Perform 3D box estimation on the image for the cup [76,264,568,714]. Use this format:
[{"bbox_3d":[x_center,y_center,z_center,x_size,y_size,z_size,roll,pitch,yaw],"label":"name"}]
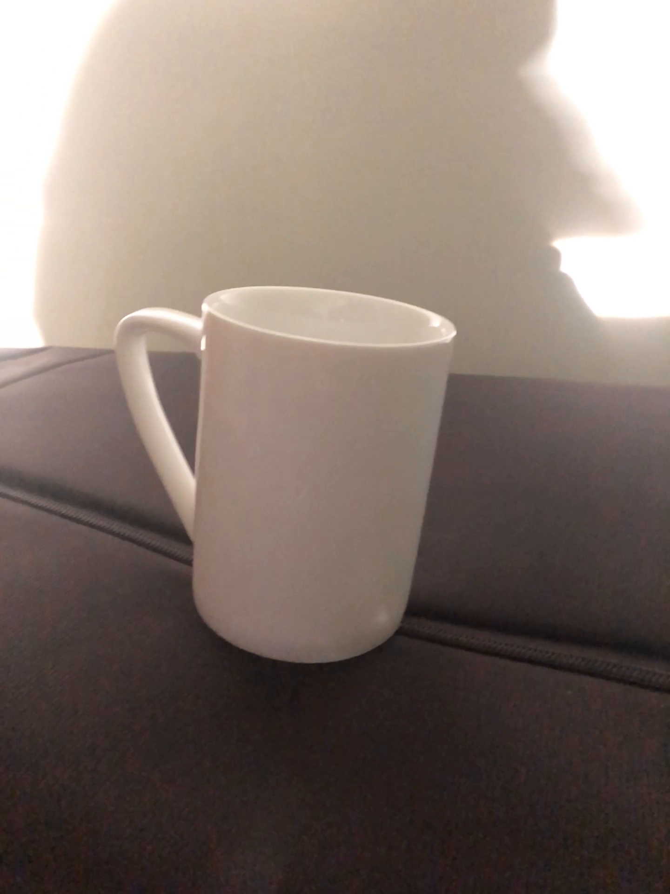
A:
[{"bbox_3d":[-0.007,-0.003,0.235,0.109,0.090,0.097,22,24,35],"label":"cup"}]
